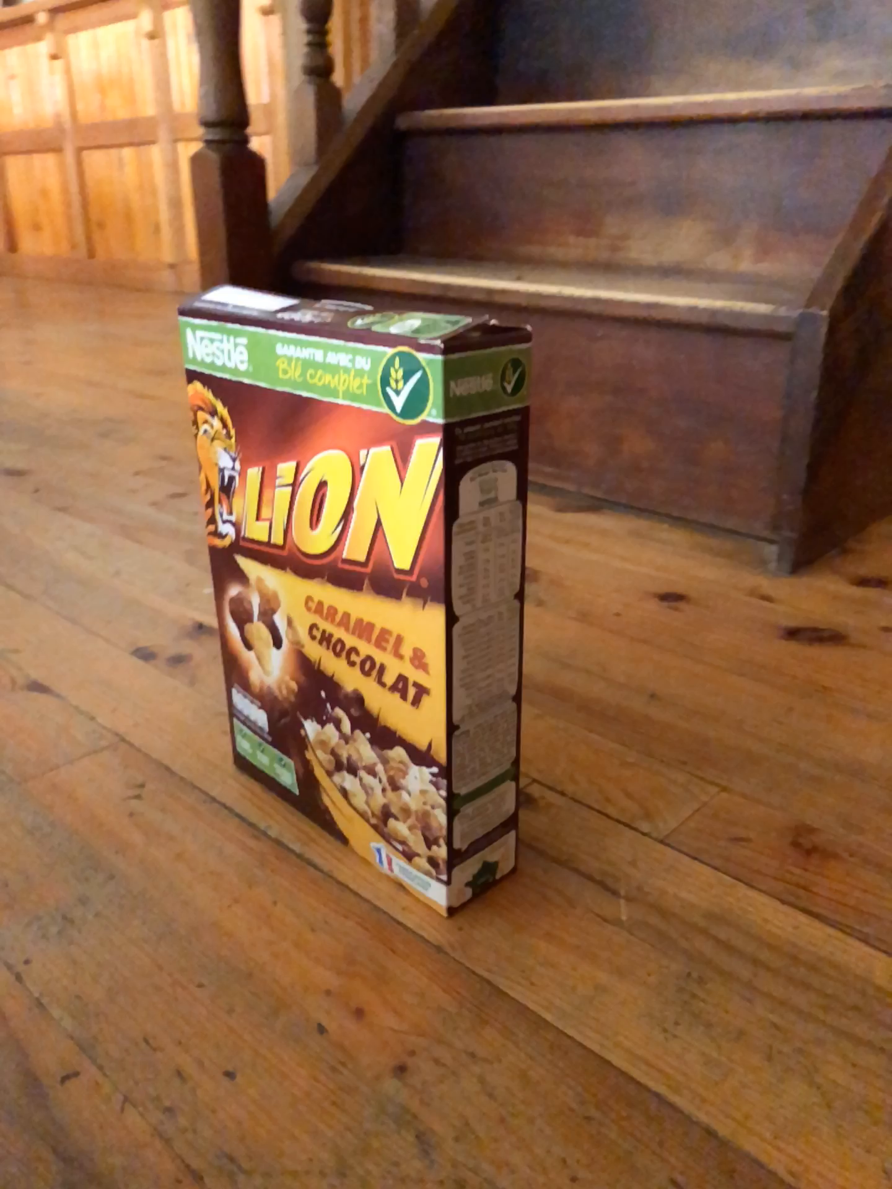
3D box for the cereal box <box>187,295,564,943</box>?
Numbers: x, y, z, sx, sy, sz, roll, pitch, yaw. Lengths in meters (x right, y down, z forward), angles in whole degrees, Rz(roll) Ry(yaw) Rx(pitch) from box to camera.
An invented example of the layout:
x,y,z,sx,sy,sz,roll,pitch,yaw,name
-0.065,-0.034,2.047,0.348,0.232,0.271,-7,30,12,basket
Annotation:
x,y,z,sx,sy,sz,roll,pitch,yaw,name
-0.042,0.000,0.501,0.060,0.279,0.200,-19,28,-40,cereal box
